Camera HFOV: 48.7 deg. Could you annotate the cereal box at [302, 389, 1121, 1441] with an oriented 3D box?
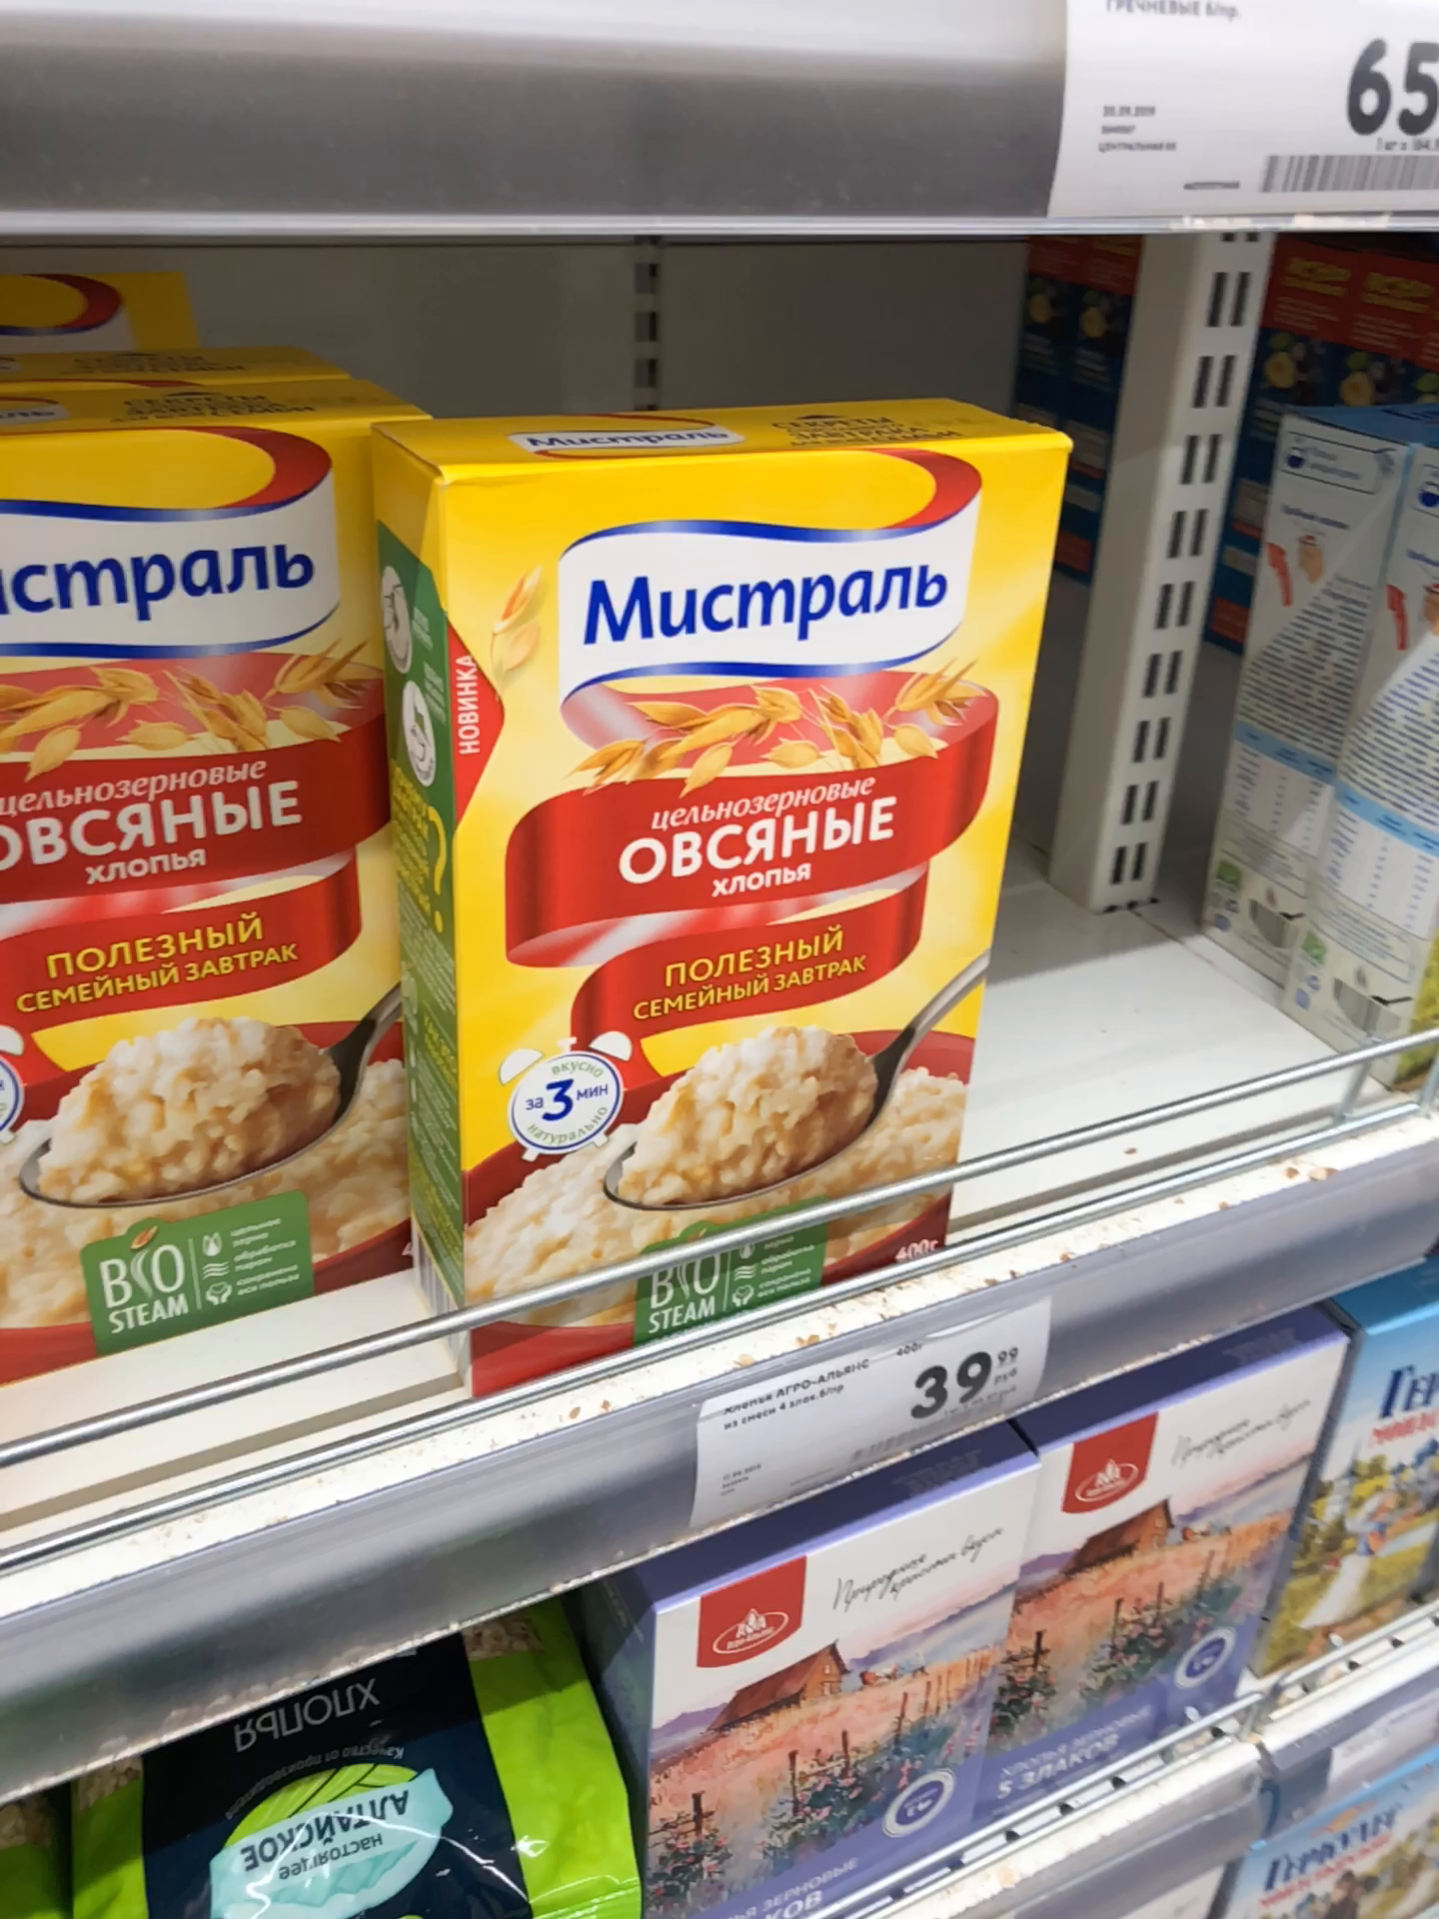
[{"bbox_3d":[-0.003,-0.010,0.353,0.150,0.209,0.050,-11,31,-24],"label":"cereal box"}]
